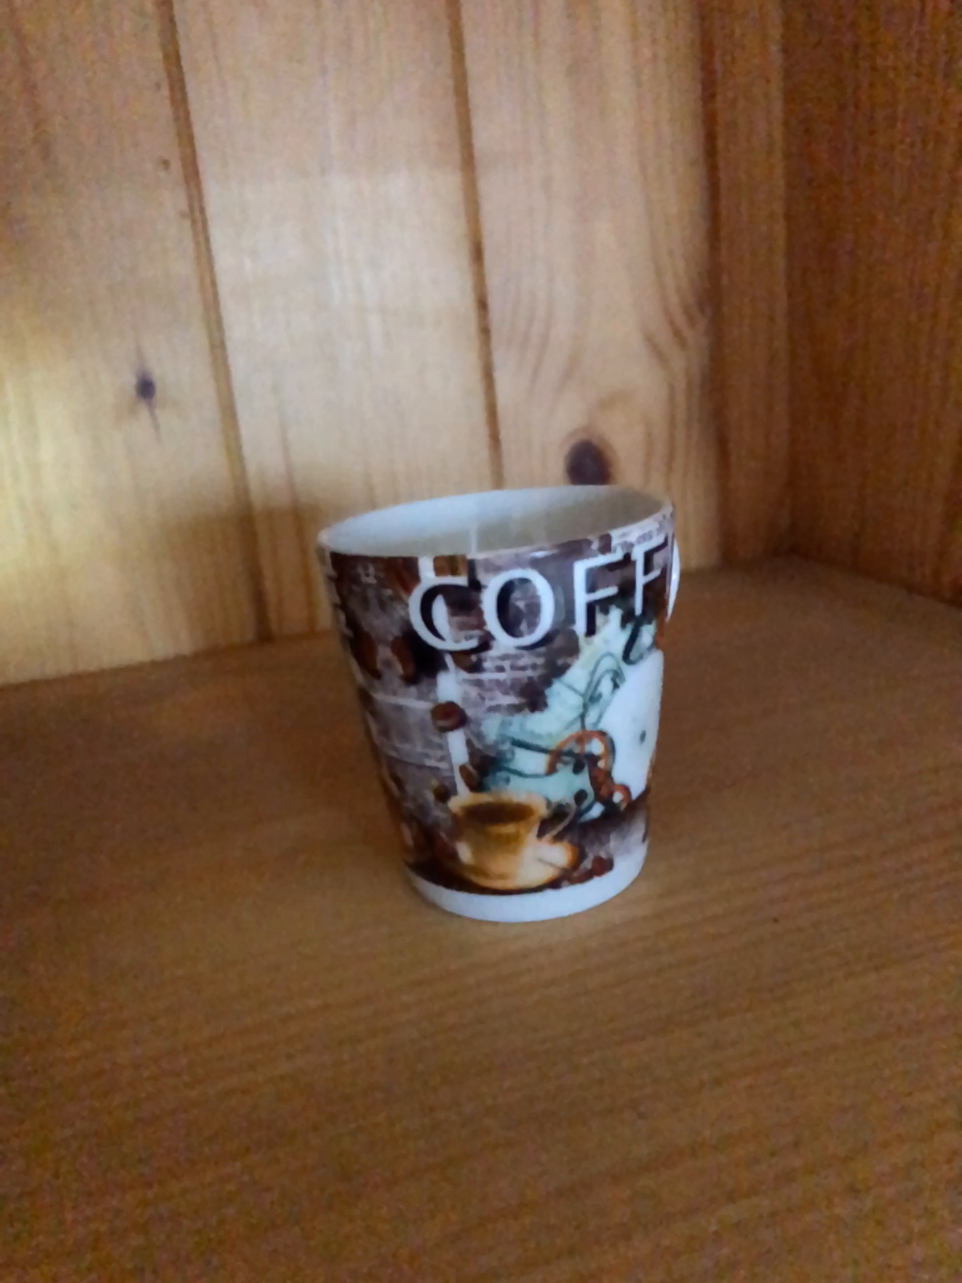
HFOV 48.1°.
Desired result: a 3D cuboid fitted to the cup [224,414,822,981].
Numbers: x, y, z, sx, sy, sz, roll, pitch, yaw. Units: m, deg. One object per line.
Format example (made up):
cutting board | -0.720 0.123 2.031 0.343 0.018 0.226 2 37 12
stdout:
cup | 0.009 0.000 0.191 0.080 0.070 0.060 -16 19 -33
